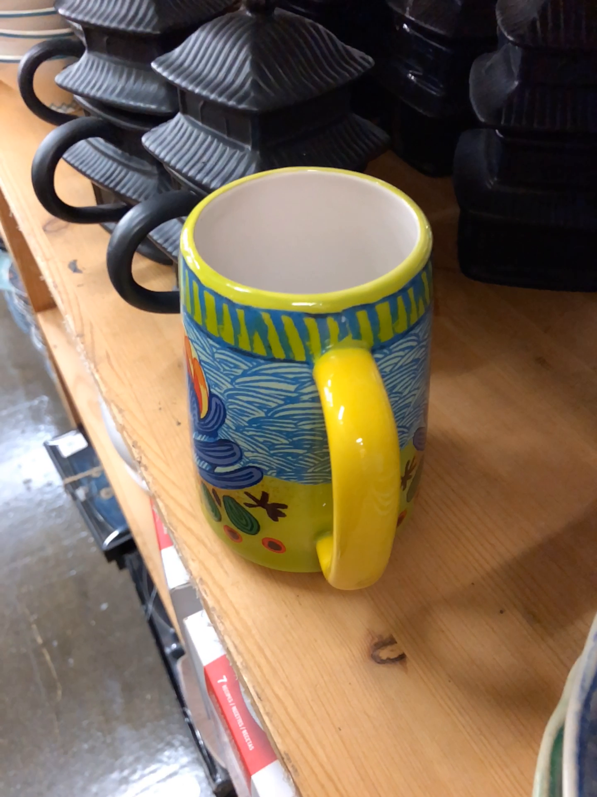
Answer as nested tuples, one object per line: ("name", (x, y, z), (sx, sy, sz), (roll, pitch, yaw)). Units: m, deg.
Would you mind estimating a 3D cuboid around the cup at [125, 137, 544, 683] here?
("cup", (0.000, 0.004, 0.218), (0.086, 0.125, 0.114), (-8, 46, -6))
